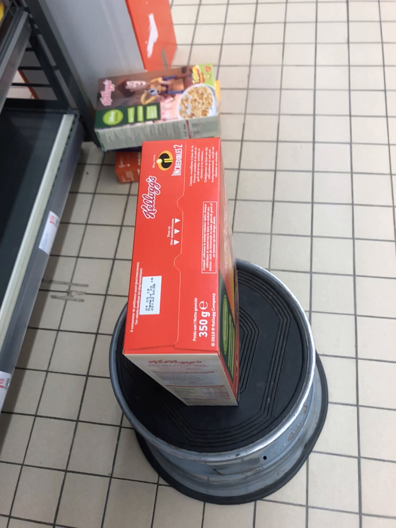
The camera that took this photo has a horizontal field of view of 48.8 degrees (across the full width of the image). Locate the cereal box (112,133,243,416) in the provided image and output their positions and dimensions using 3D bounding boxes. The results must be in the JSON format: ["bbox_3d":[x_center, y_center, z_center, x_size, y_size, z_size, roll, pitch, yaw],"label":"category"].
[{"bbox_3d":[0.003,0.043,0.477,0.080,0.309,0.201,-1,65,7],"label":"cereal box"}]
